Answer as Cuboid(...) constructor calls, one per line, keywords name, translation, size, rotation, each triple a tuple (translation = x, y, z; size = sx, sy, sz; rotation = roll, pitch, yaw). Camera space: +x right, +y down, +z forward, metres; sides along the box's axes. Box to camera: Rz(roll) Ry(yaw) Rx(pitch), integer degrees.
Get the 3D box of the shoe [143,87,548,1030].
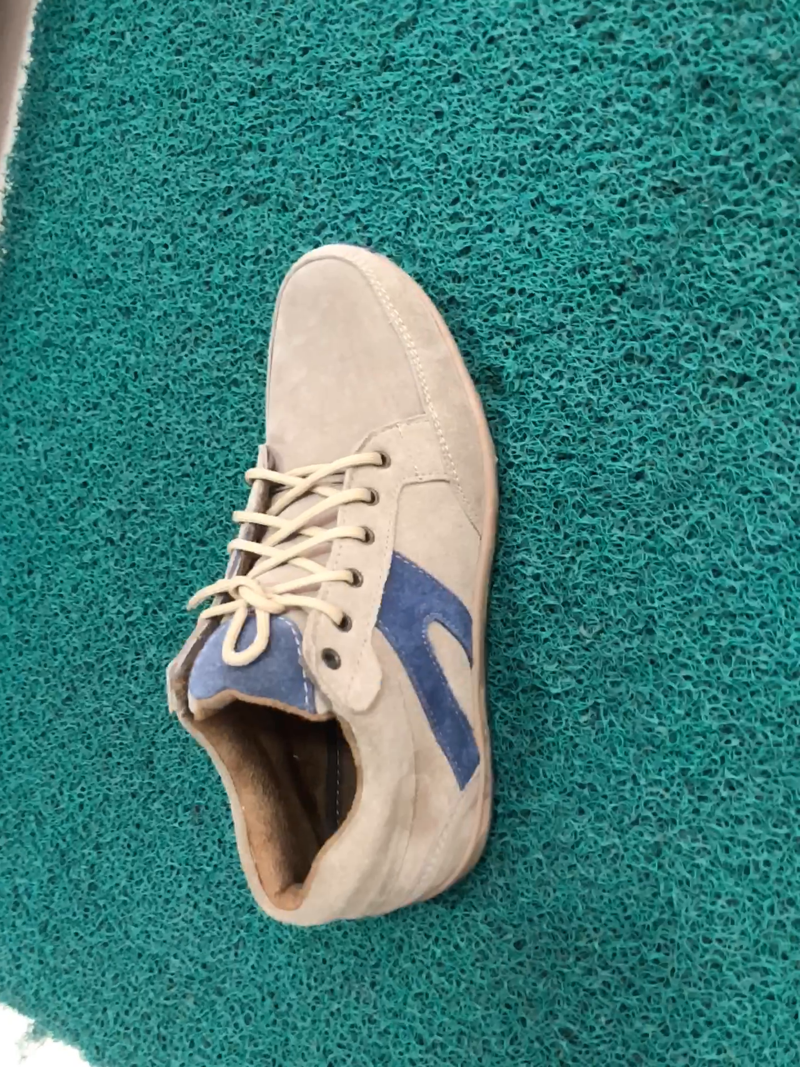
Cuboid(name="shoe", translation=(-0.019, 0.009, 0.375), size=(0.100, 0.120, 0.320), rotation=(-6, 86, 29))
